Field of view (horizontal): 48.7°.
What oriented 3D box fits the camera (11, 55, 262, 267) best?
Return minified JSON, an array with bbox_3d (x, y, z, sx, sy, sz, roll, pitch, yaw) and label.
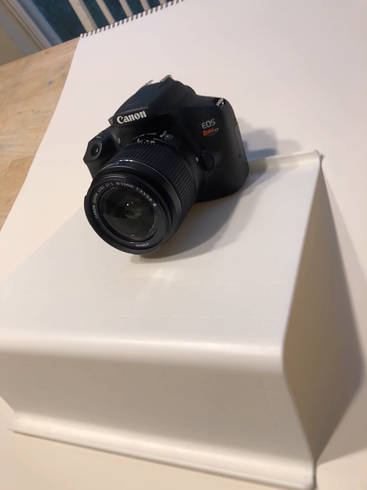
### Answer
[{"bbox_3d":[-0.023,-0.067,0.326,0.126,0.104,0.140,-3,32,27],"label":"camera"}]
